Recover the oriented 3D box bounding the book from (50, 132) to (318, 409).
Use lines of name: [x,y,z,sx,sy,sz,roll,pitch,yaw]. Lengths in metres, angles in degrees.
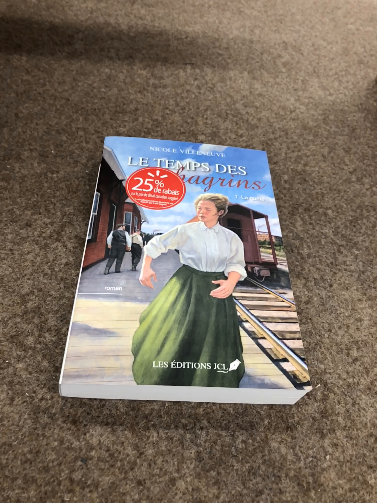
book: [-0.002,-0.002,0.320,0.155,0.030,0.225,4,53,-5]
